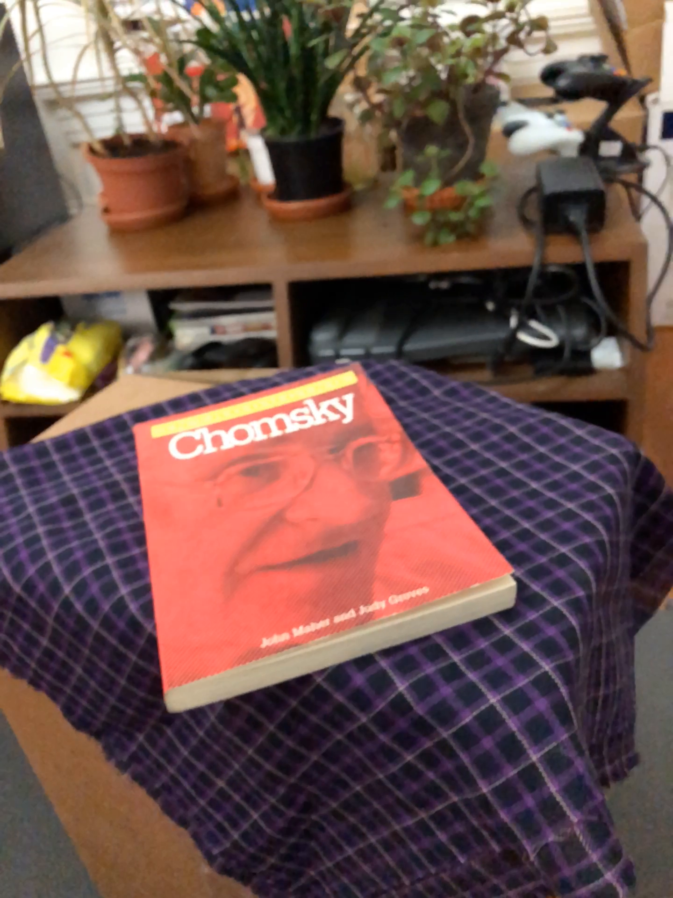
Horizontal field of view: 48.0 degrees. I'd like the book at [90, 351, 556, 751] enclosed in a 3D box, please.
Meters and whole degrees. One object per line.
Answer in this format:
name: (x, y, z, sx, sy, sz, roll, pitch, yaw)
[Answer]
book: (-0.032, 0.023, 0.389, 0.180, 0.020, 0.241, -15, 32, -11)
